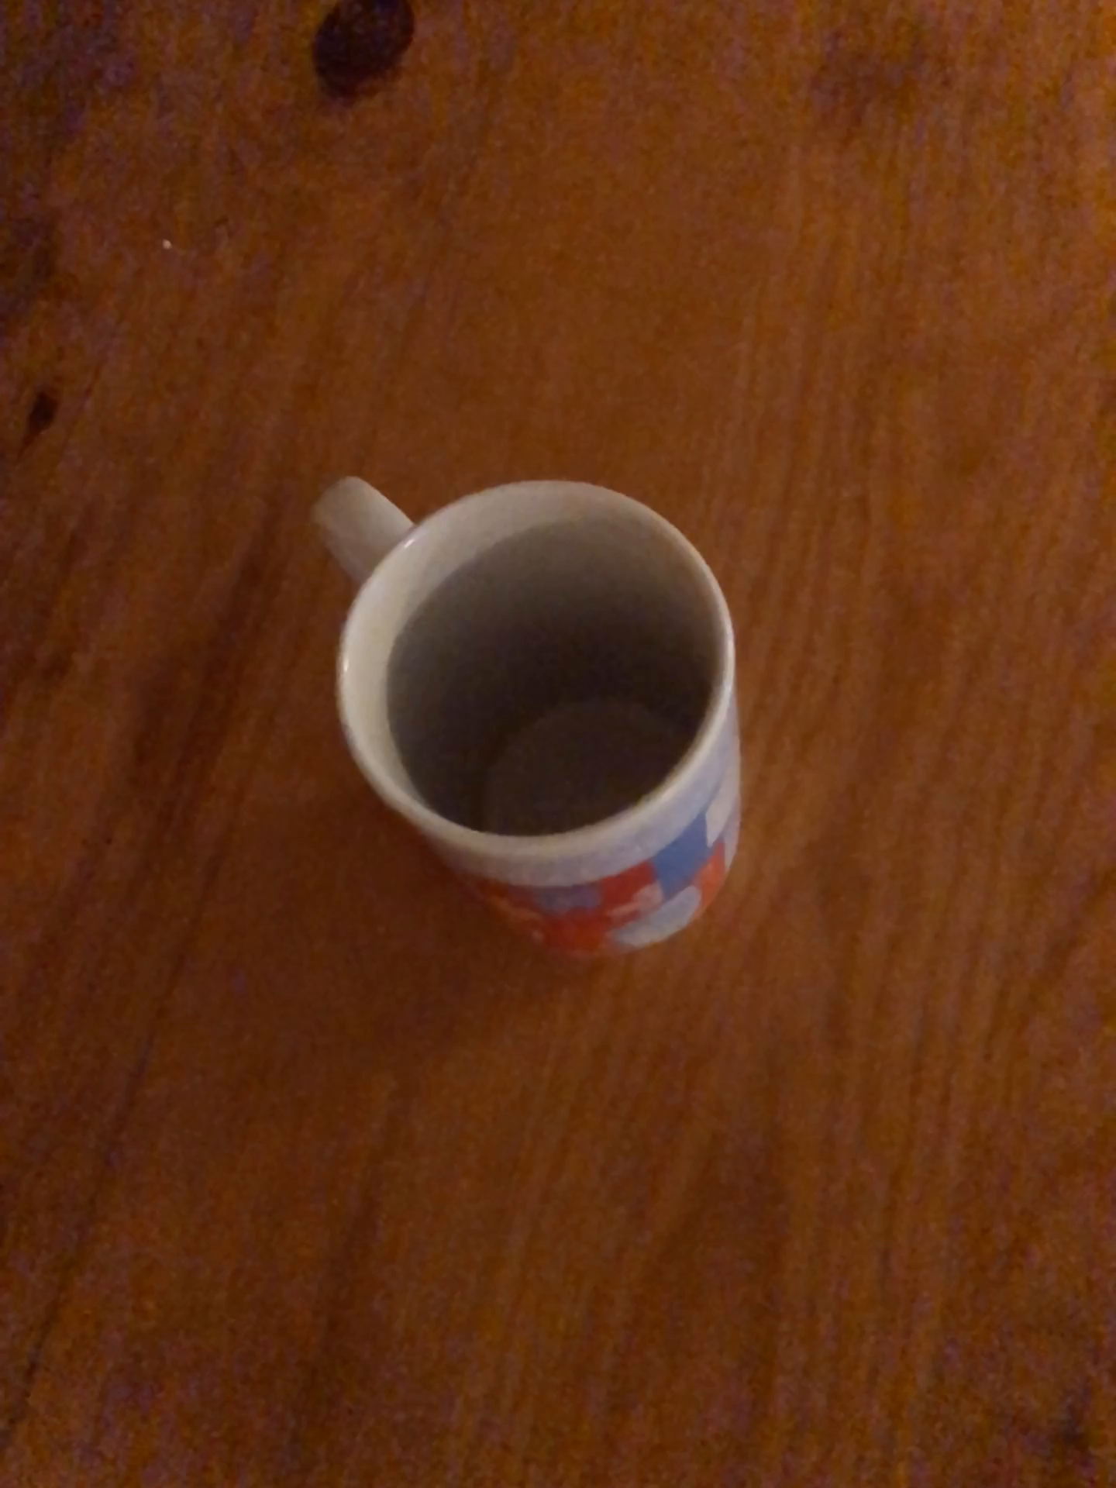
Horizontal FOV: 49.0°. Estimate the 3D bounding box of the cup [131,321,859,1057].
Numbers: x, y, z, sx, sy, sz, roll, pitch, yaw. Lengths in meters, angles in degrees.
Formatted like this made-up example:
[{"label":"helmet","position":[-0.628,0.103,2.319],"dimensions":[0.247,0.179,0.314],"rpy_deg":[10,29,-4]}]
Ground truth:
[{"label":"cup","position":[-0.009,-0.006,0.270],"dimensions":[0.112,0.099,0.080],"rpy_deg":[41,79,20]}]
